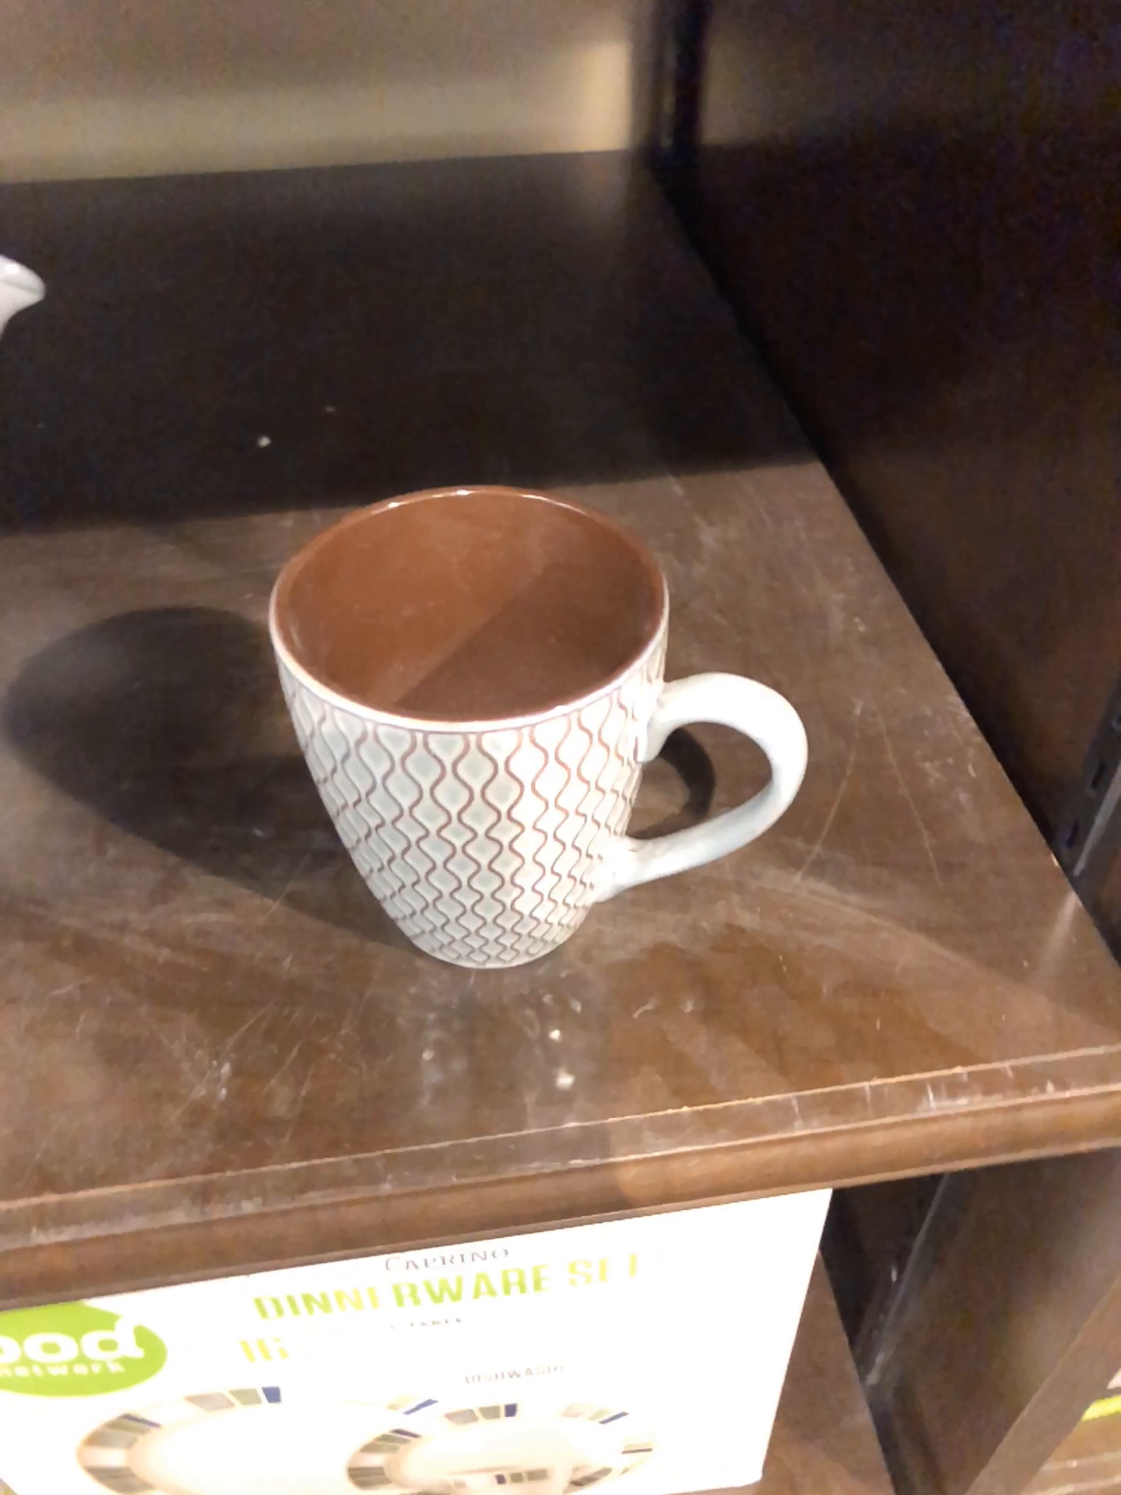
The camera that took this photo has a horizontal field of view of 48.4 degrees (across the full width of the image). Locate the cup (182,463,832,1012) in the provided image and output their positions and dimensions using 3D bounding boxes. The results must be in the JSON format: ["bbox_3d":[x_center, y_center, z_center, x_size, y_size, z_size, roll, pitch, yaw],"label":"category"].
[{"bbox_3d":[-0.006,-0.002,0.315,0.132,0.098,0.085,4,48,6],"label":"cup"}]
